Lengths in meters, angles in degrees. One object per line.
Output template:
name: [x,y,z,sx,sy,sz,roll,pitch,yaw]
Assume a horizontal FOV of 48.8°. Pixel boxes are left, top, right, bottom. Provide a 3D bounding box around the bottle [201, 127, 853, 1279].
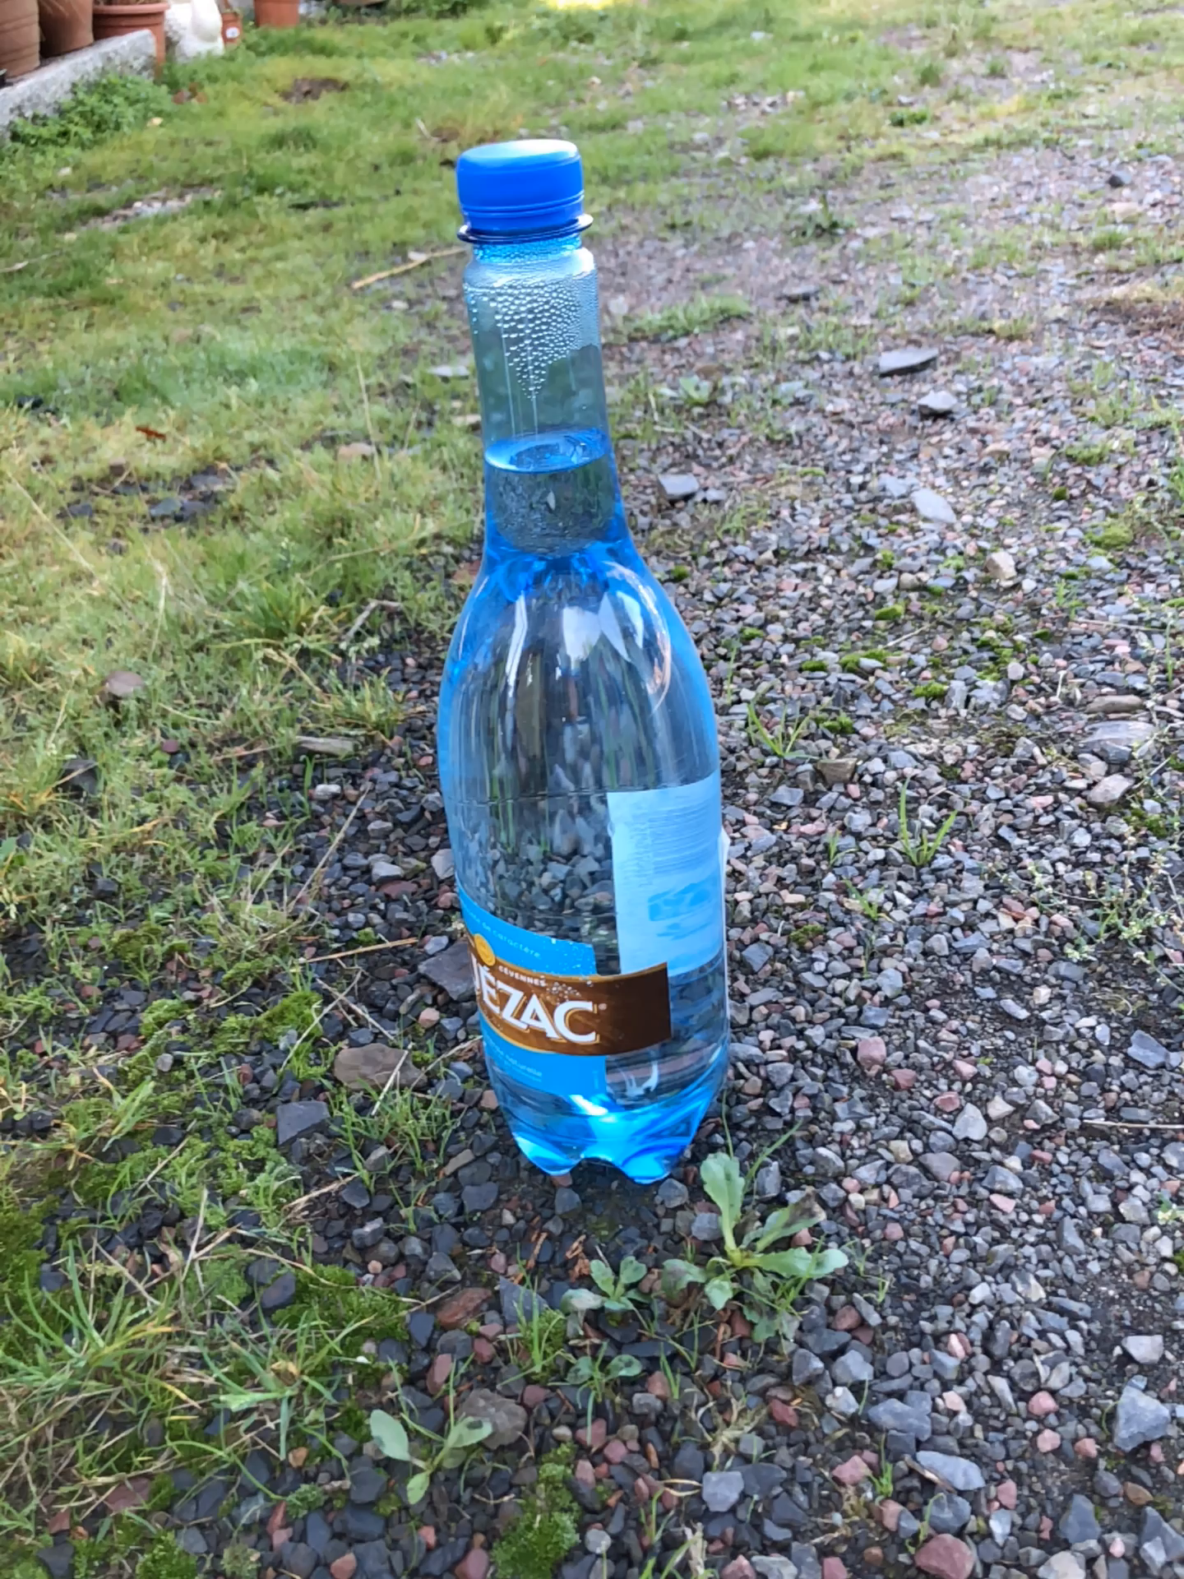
bottle: [-0.003,-0.015,0.382,0.110,0.298,0.110,-5,35,4]
